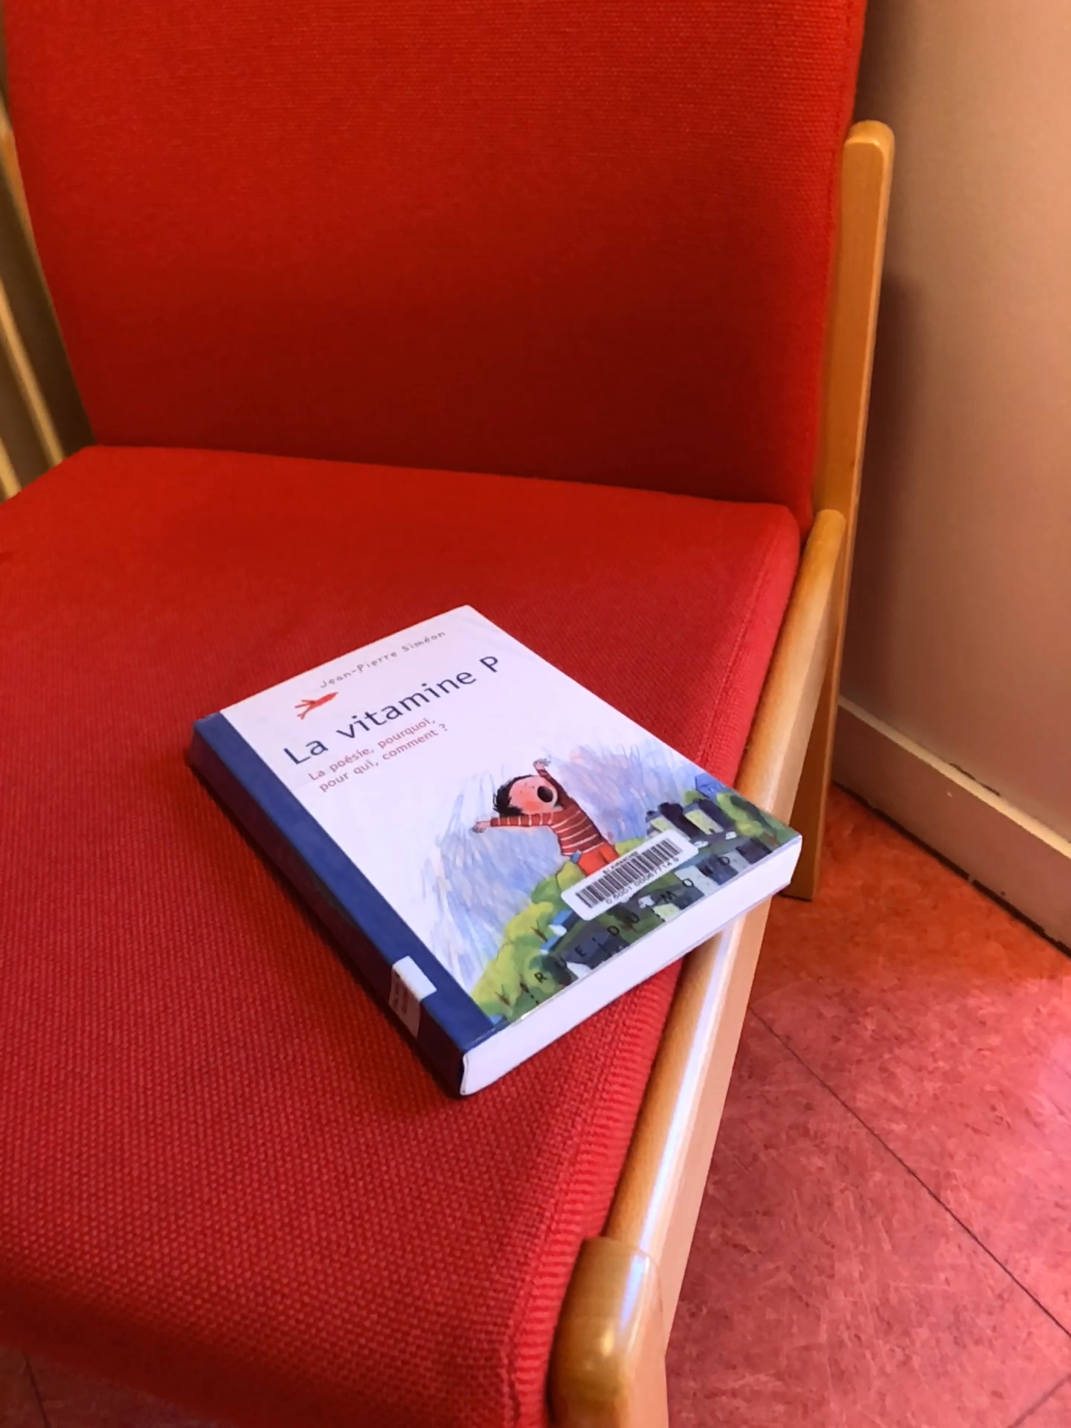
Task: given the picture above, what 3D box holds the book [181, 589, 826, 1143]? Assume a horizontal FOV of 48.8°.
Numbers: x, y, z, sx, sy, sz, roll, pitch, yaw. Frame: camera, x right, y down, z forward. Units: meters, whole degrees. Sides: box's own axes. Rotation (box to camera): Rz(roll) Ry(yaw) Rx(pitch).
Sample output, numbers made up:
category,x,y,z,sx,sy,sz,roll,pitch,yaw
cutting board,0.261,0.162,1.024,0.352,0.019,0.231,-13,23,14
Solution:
category,x,y,z,sx,sy,sz,roll,pitch,yaw
book,-0.022,0.037,0.451,0.148,0.027,0.215,-28,44,-24
